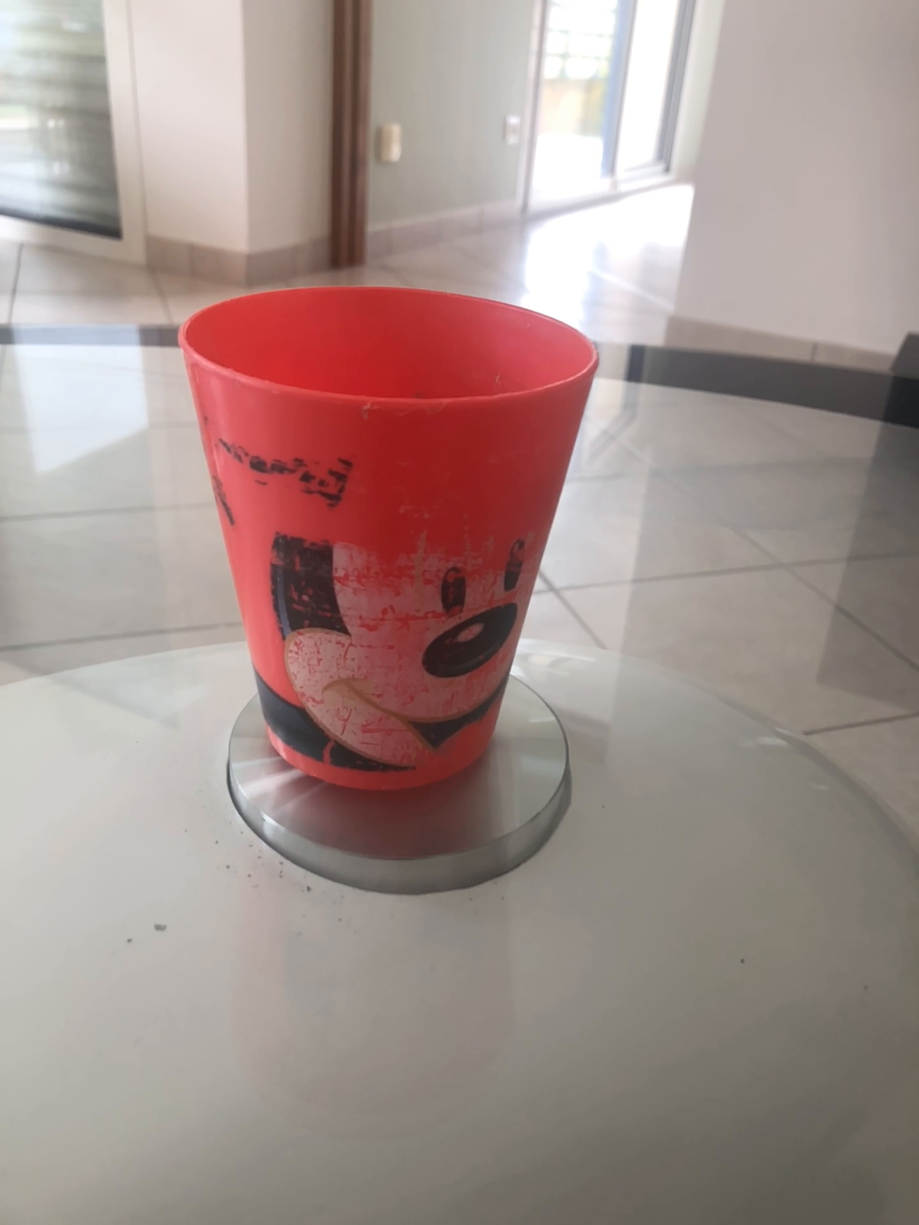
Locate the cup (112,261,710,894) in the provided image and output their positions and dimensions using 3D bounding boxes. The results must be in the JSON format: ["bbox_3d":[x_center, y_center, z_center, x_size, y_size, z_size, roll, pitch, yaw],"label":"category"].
[{"bbox_3d":[-0.015,-0.016,0.205,0.080,0.089,0.080,4,28,-2],"label":"cup"}]
